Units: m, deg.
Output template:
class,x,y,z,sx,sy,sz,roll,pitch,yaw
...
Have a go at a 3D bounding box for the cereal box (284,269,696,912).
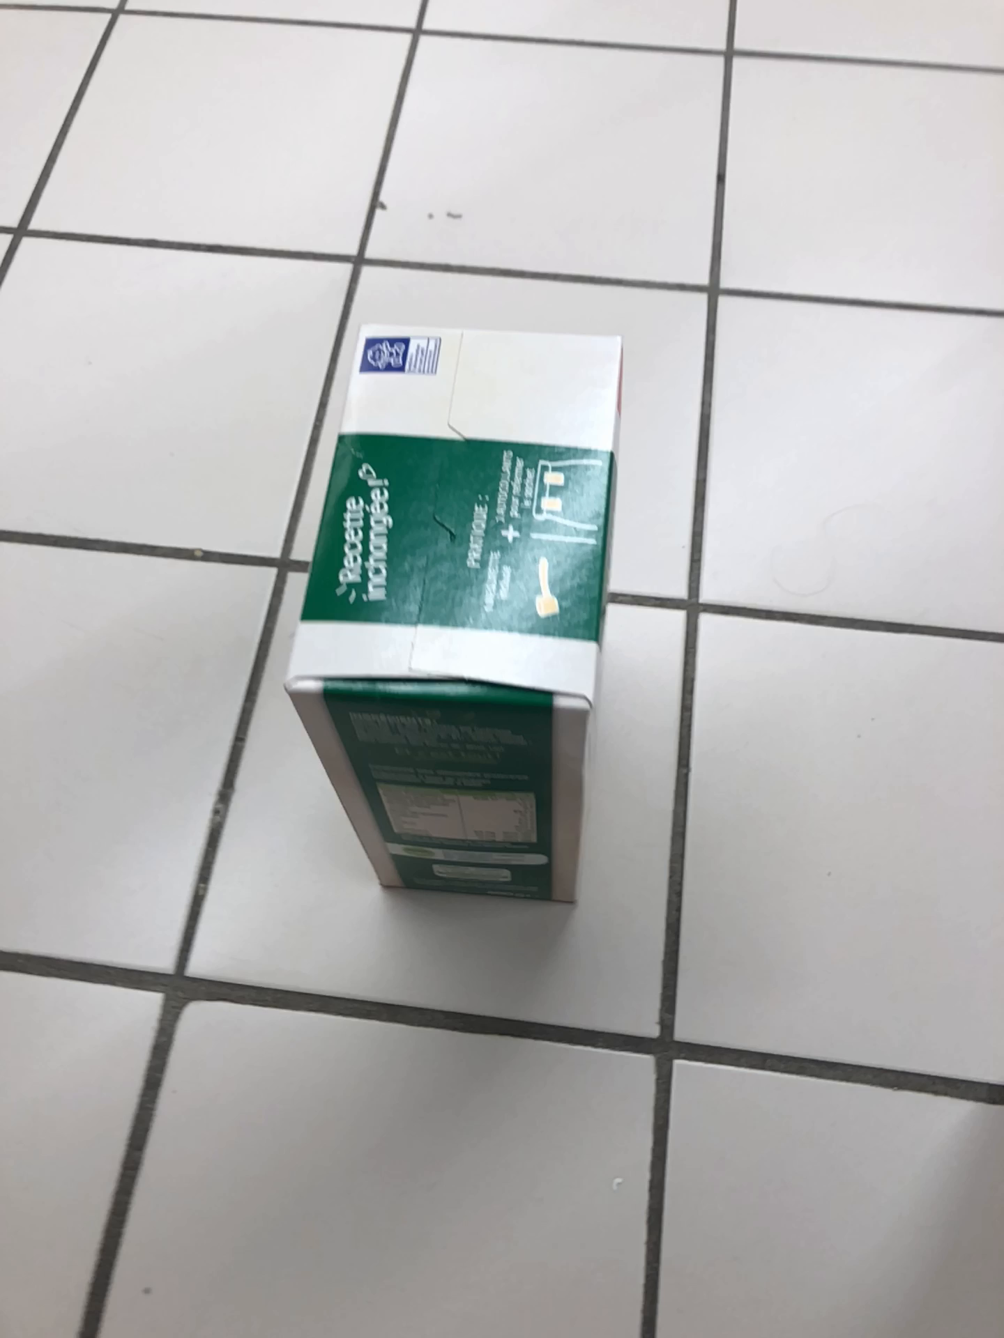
class,x,y,z,sx,sy,sz,roll,pitch,yaw
cereal box,0.005,-0.013,0.396,0.100,0.199,0.141,4,63,4
